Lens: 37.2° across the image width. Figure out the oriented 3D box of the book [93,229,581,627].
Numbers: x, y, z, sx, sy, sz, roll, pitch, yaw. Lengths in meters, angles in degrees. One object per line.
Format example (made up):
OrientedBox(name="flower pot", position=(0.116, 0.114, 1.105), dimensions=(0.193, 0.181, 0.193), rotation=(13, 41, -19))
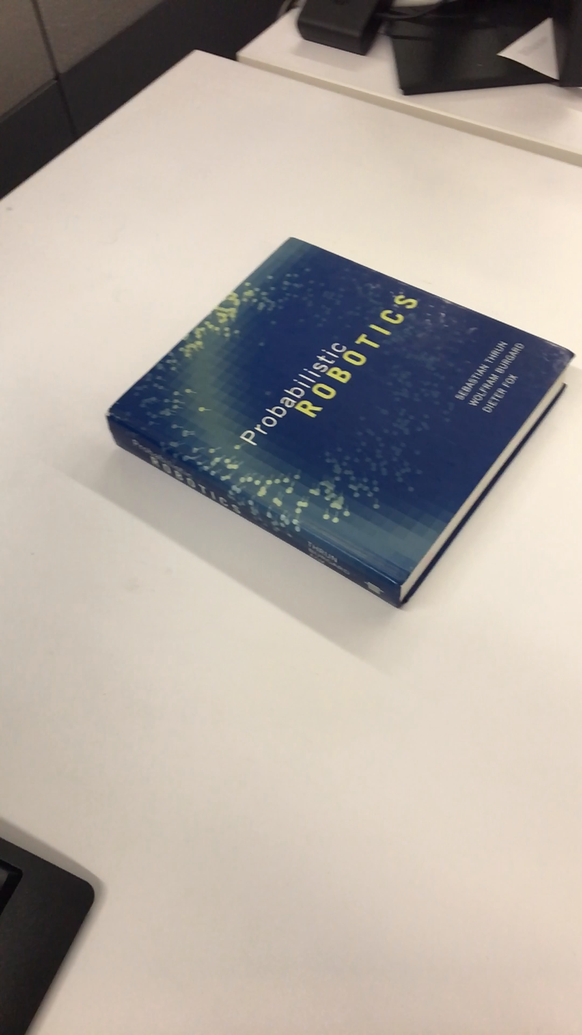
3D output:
OrientedBox(name="book", position=(0.035, -0.077, 0.570), dimensions=(0.240, 0.030, 0.220), rotation=(30, 63, 23))
